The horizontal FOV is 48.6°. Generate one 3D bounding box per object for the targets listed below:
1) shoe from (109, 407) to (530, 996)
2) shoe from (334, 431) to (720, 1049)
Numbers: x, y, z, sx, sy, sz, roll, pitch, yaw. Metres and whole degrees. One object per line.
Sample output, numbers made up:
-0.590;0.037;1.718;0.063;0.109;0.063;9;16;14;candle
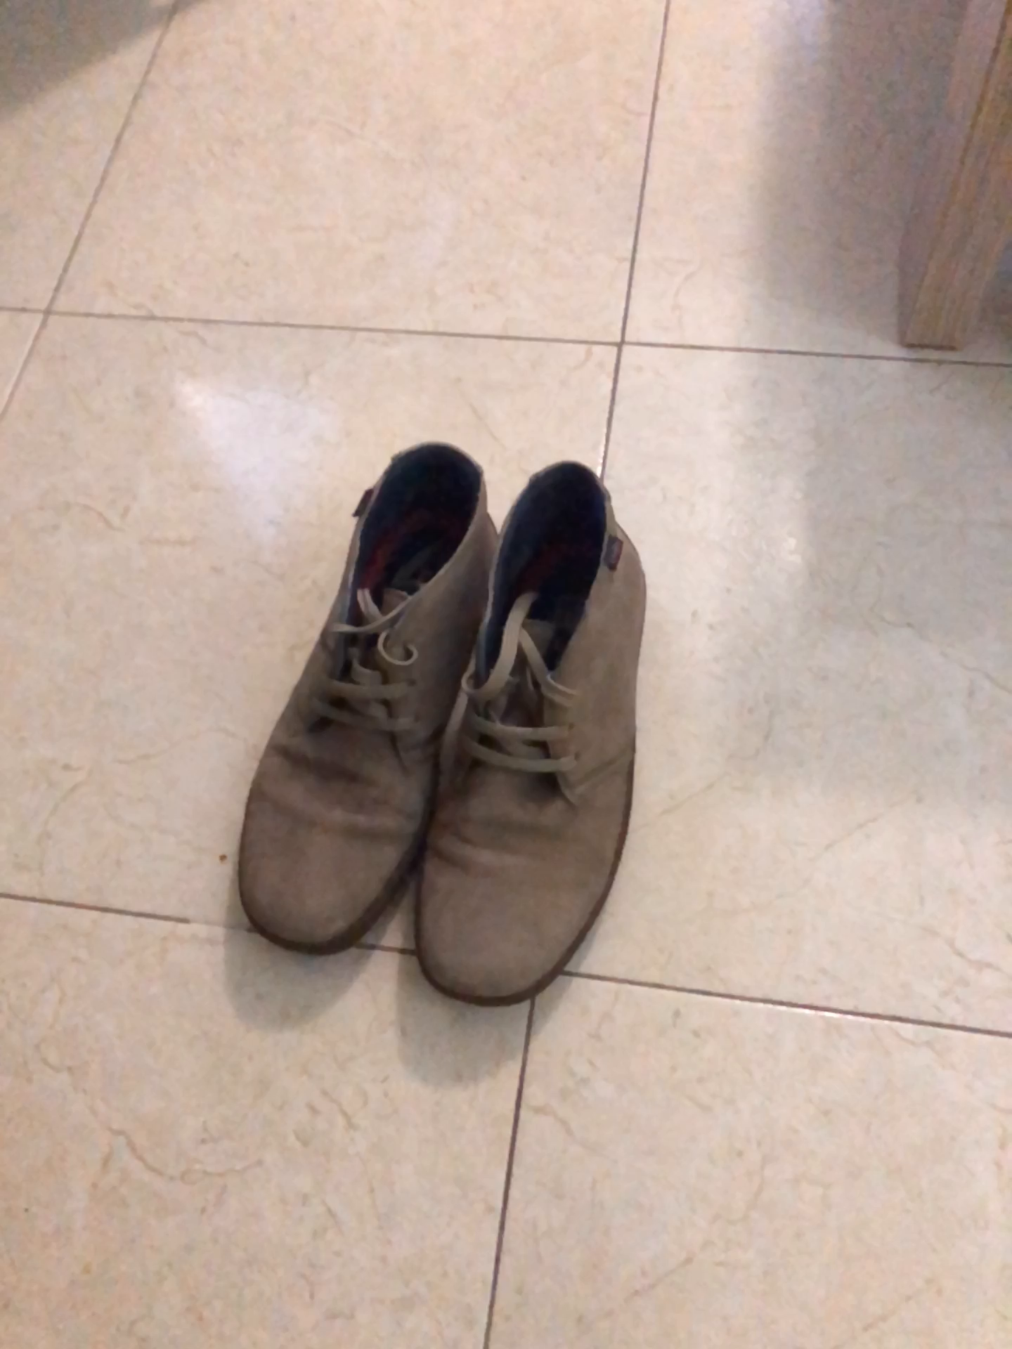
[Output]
-0.083;0.011;0.613;0.110;0.120;0.280;14;66;12;shoe
0.023;0.030;0.586;0.120;0.120;0.280;11;65;11;shoe
